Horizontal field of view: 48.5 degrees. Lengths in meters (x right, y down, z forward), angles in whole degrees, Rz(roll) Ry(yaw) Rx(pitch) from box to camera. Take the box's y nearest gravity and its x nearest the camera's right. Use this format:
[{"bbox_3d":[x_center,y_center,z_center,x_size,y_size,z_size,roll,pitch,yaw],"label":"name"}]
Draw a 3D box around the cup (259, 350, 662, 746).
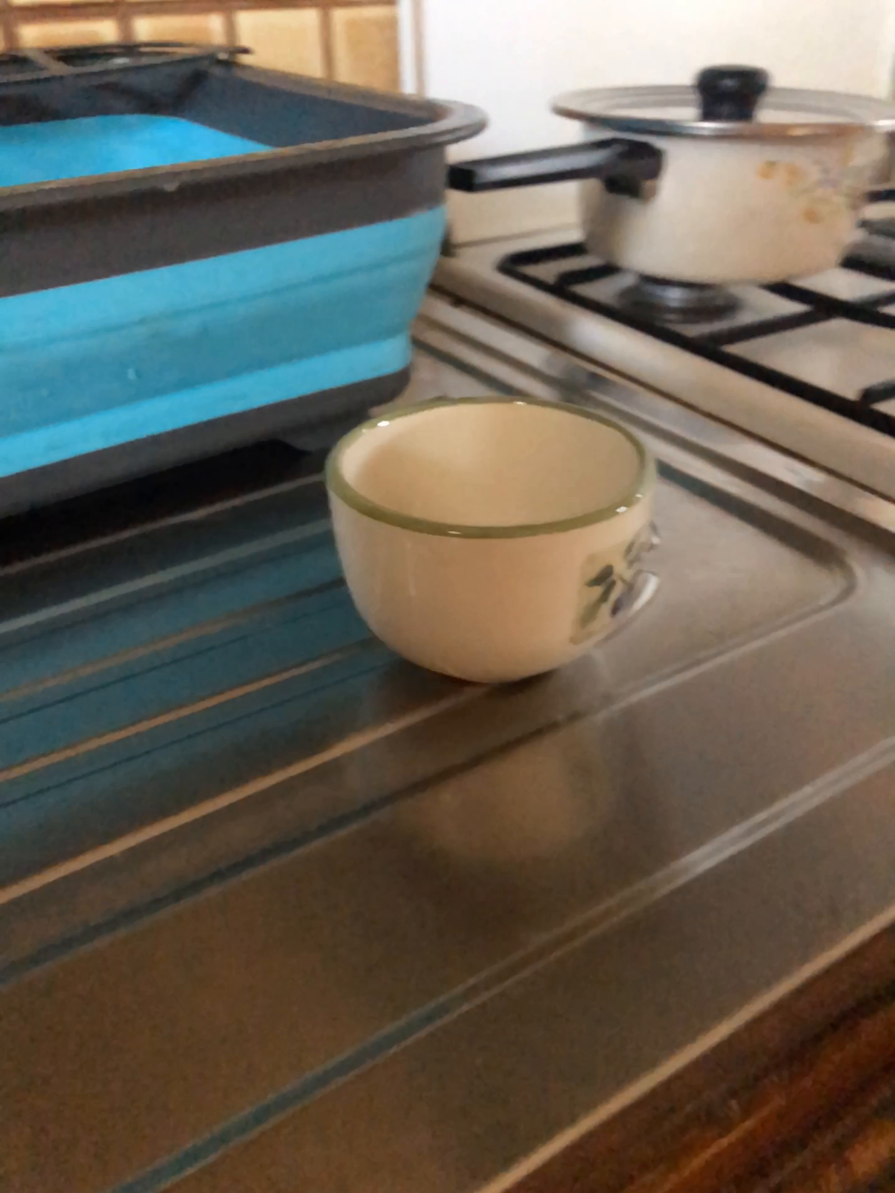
[{"bbox_3d":[0.010,-0.021,0.283,0.090,0.060,0.111,4,33,7],"label":"cup"}]
